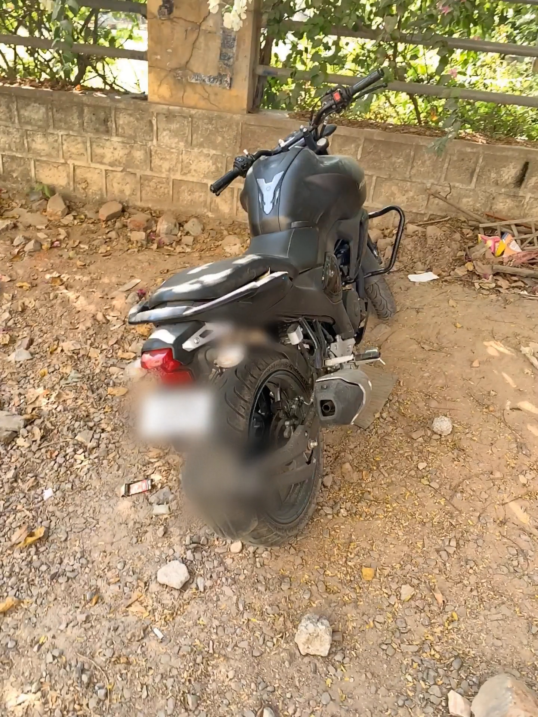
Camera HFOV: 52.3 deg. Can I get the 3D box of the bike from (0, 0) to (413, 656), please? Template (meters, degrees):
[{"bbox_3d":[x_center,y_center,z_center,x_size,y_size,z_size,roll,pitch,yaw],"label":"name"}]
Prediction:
[{"bbox_3d":[-0.087,-0.378,2.005,0.818,1.498,1.764,12,35,9],"label":"bike"}]
